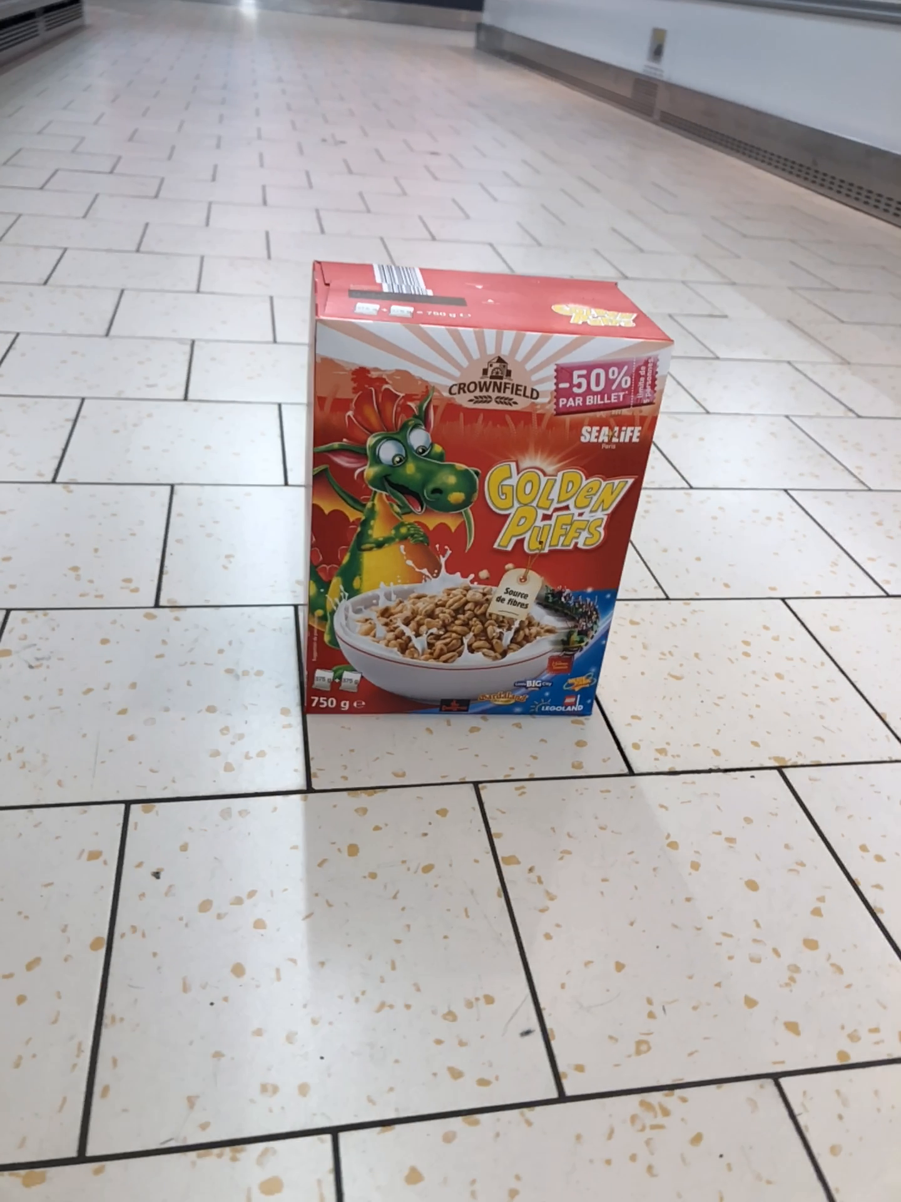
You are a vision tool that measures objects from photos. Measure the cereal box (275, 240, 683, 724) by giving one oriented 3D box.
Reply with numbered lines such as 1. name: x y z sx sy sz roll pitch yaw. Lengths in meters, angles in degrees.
1. cereal box: -0.002 -0.068 0.605 0.200 0.248 0.141 2 31 -8
